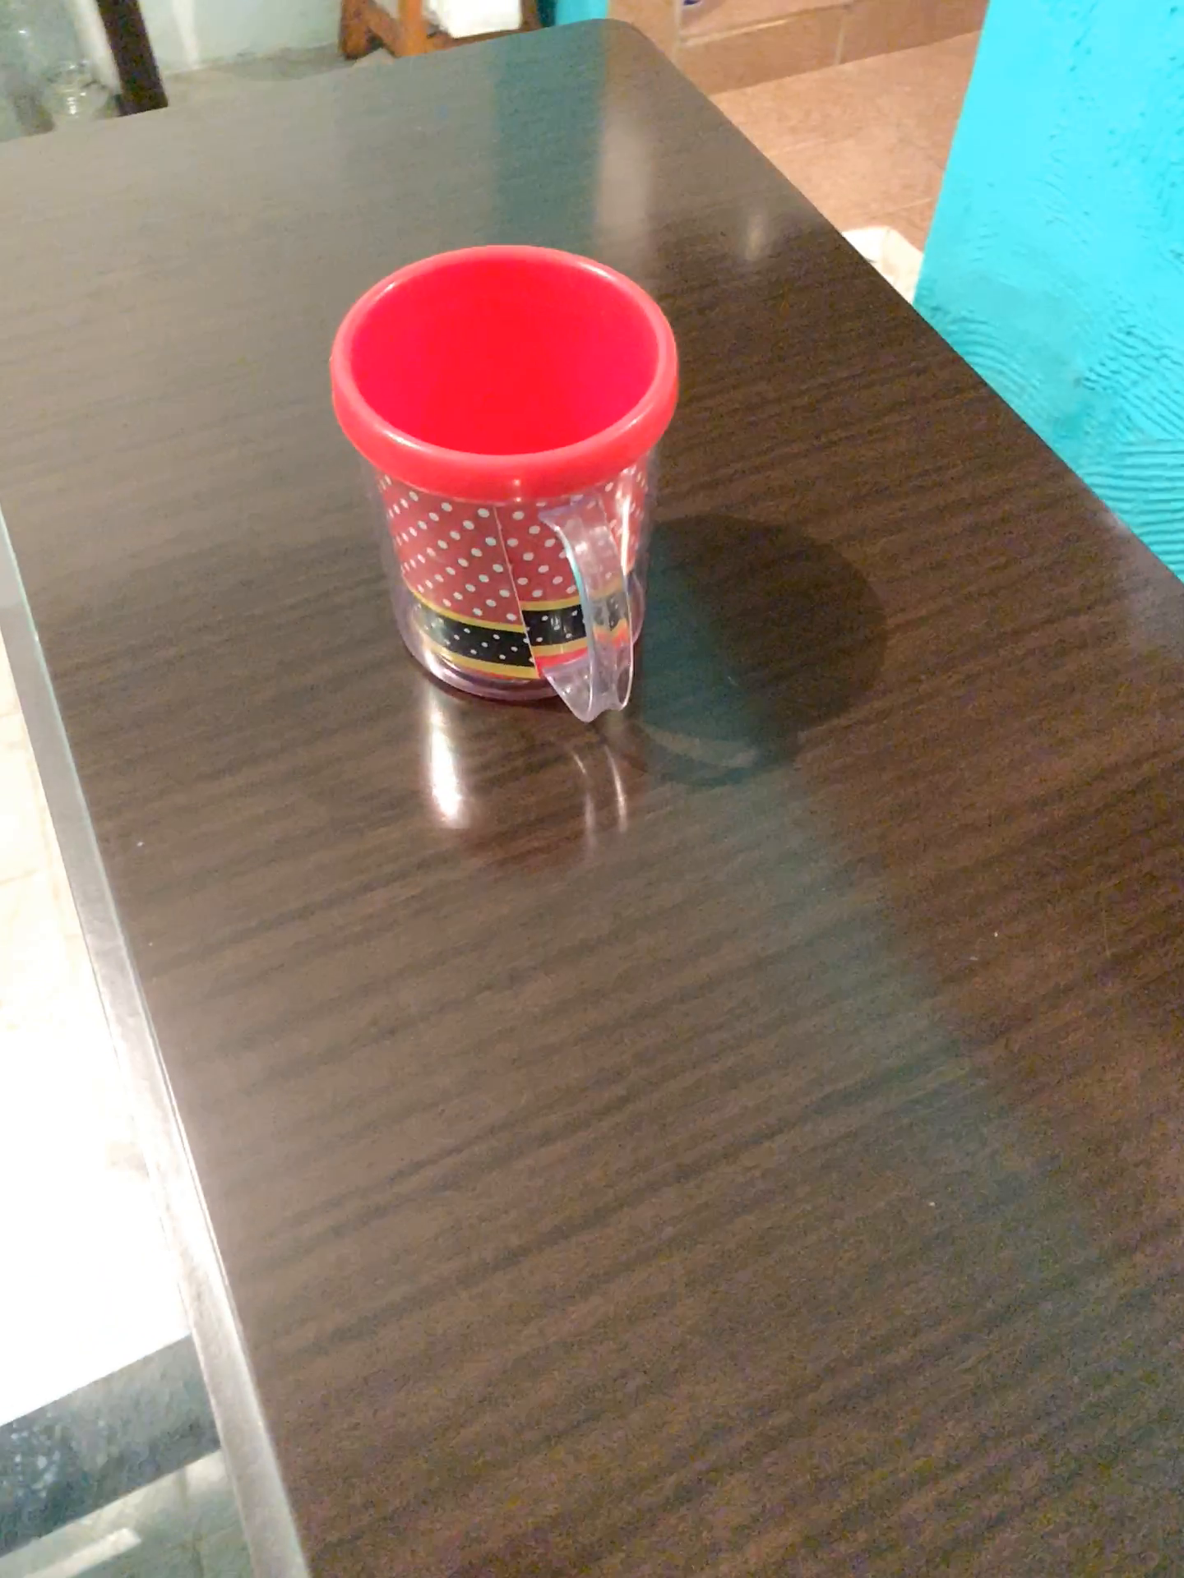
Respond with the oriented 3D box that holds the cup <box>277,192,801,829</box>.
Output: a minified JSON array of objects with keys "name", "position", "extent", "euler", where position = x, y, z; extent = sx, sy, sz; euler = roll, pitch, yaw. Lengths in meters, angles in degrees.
[{"name":"cup","position":[-0.017,-0.080,0.356],"extent":[0.090,0.110,0.120],"euler":[-23,59,-15]}]
